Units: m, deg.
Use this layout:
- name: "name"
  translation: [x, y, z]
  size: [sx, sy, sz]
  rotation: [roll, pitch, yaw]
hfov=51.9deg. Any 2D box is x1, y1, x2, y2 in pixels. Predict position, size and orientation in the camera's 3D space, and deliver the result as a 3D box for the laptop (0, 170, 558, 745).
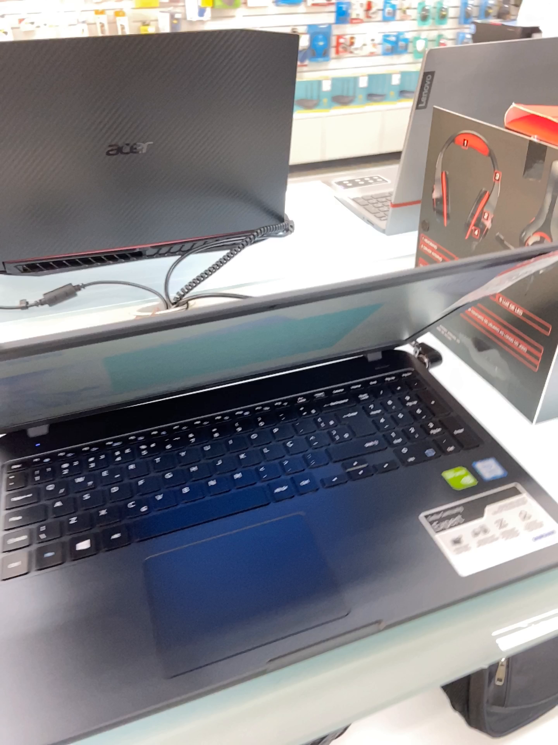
- name: "laptop"
  translation: [-0.019, 0.011, 0.366]
  size: [0.372, 0.170, 0.238]
  rotation: [-12, 36, -14]
